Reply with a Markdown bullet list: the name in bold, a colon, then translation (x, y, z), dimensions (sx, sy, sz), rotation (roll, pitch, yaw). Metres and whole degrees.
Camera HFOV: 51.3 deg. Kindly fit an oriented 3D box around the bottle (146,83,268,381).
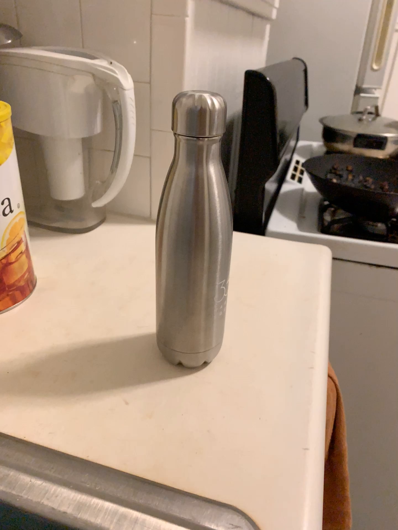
- **bottle**: translation (0.001, -0.022, 0.371), dimensions (0.070, 0.249, 0.070), rotation (3, 29, -2)
